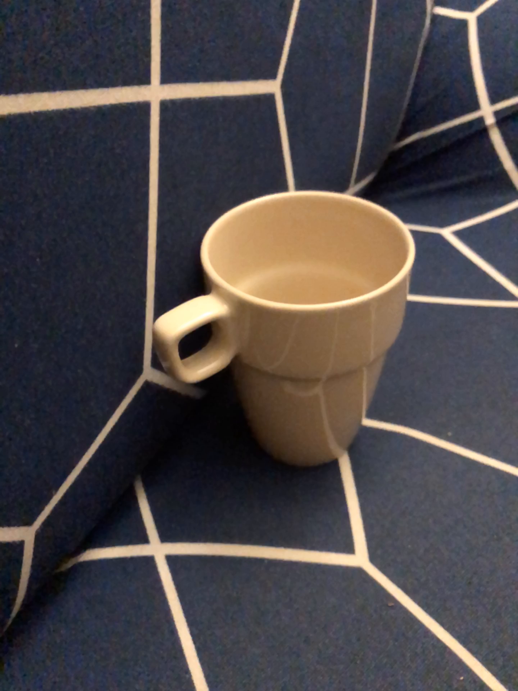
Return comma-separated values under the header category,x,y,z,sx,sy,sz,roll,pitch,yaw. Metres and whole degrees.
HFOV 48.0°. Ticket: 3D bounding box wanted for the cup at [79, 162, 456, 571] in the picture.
category,x,y,z,sx,sy,sz,roll,pitch,yaw
cup,0.004,0.004,0.247,0.104,0.109,0.090,-28,46,-24
